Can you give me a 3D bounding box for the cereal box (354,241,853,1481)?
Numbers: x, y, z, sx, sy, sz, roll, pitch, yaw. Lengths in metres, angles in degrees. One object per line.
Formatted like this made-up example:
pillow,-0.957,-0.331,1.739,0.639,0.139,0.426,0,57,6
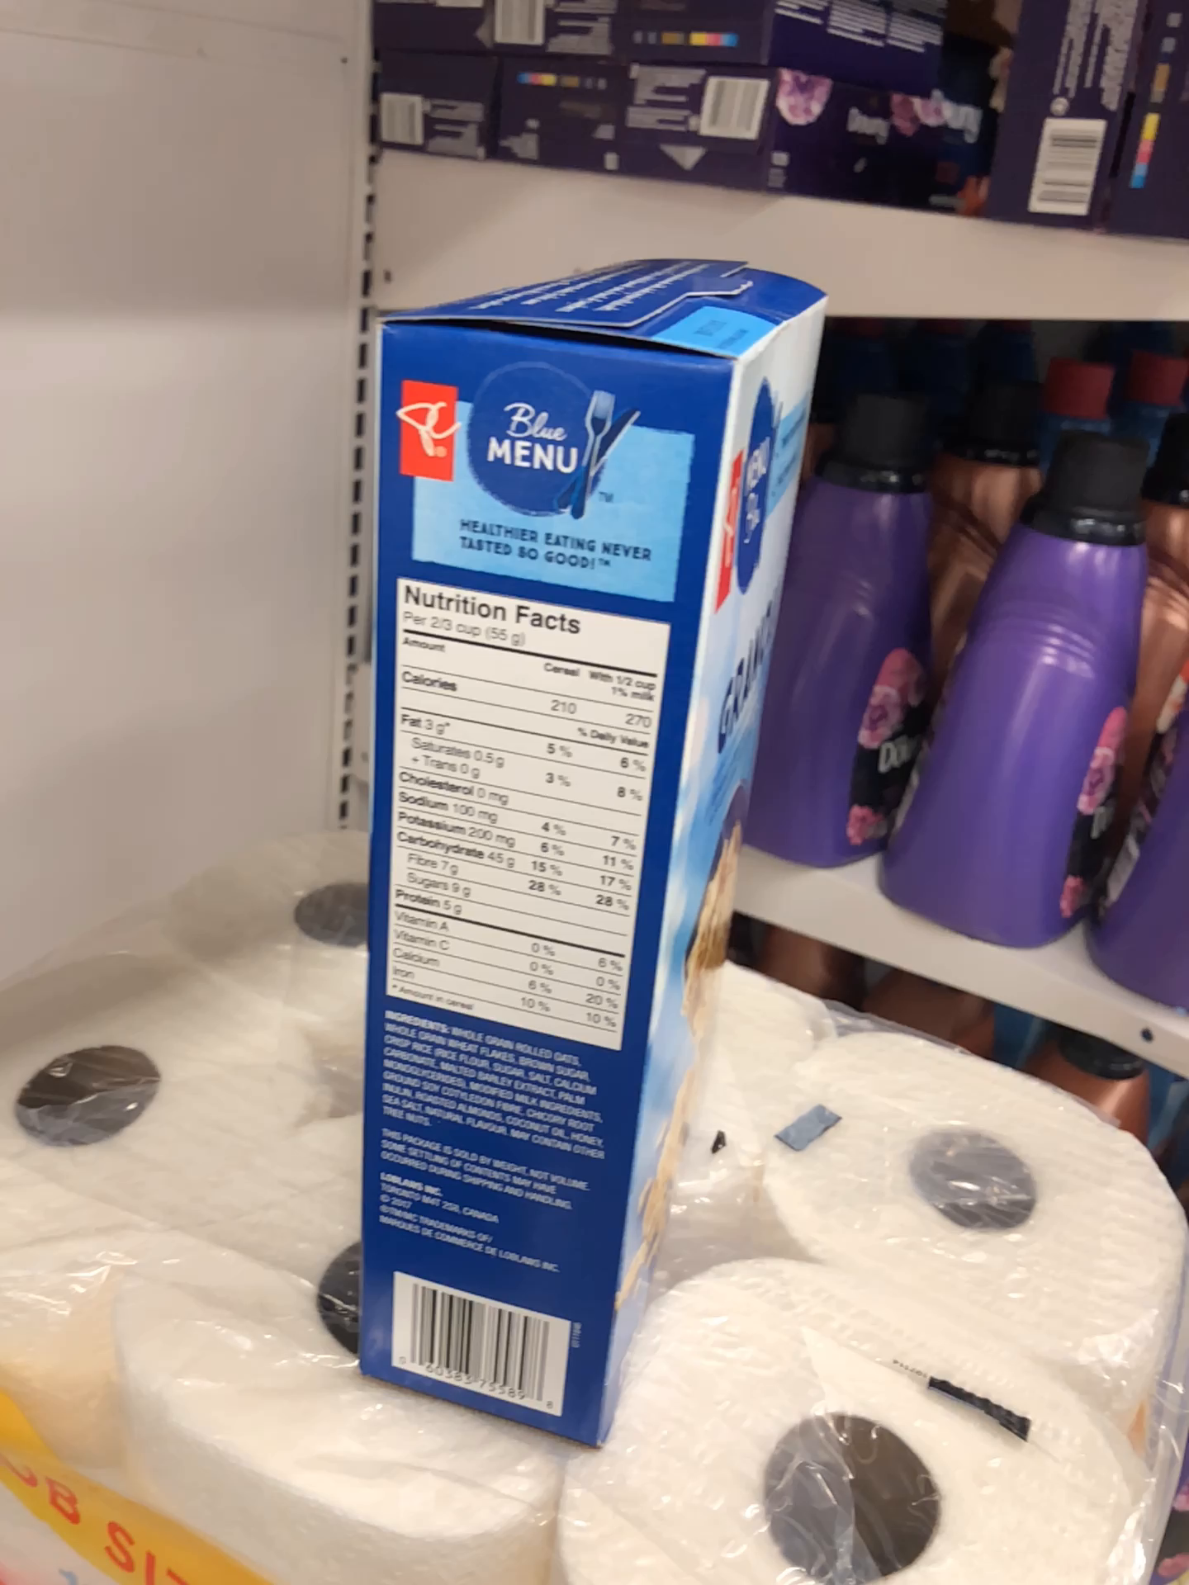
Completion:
cereal box,0.005,0.004,0.314,0.060,0.239,0.161,11,26,12
